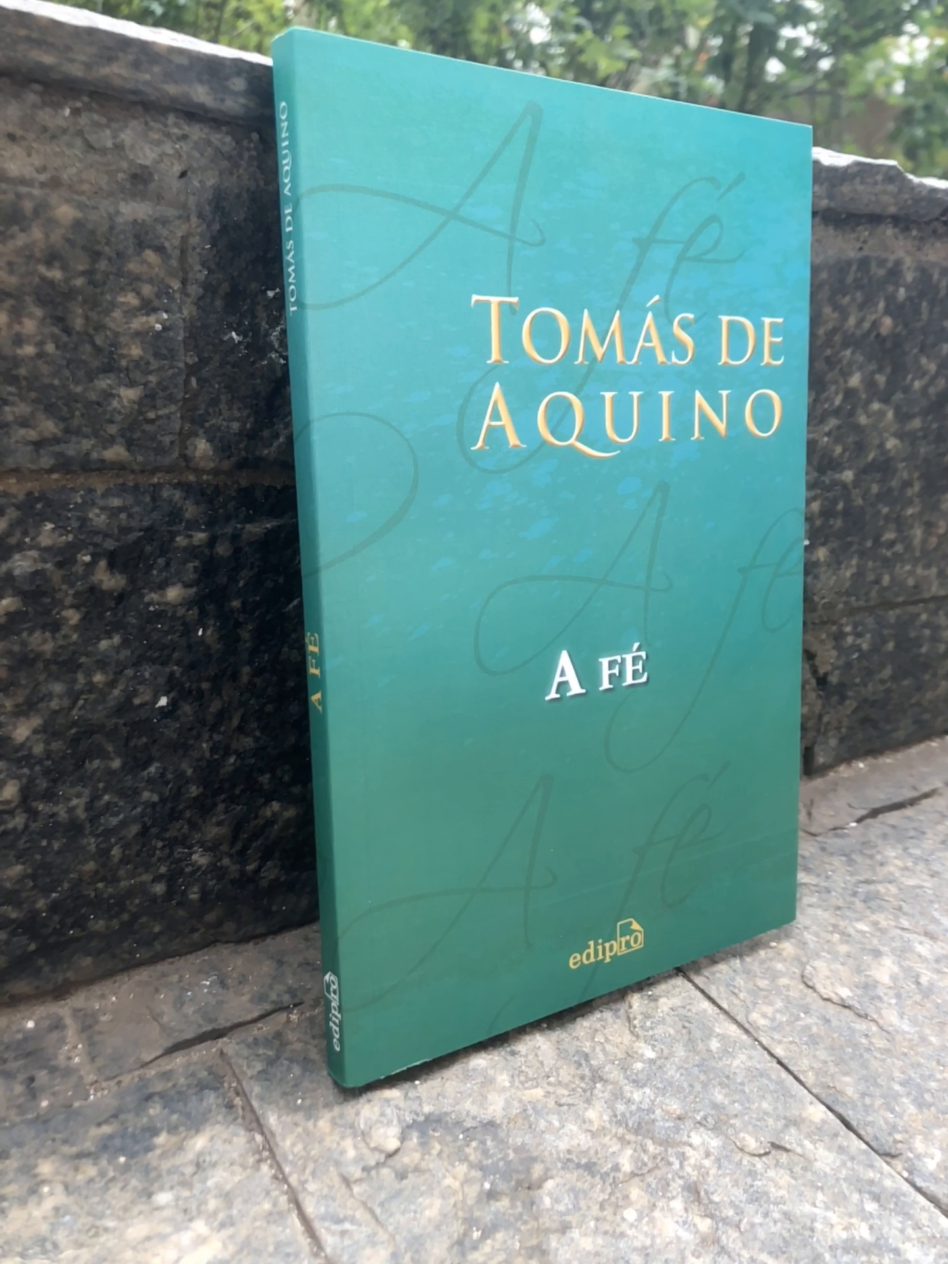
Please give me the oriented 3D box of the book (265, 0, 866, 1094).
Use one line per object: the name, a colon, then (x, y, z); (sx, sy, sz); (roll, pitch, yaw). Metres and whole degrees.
book: (0.028, -0.017, 0.237); (0.143, 0.199, 0.020); (-7, 12, -32)
